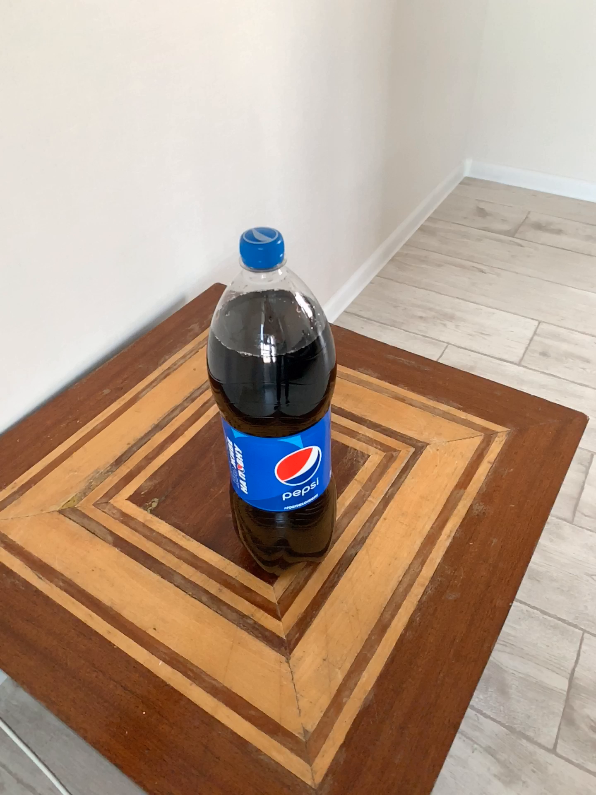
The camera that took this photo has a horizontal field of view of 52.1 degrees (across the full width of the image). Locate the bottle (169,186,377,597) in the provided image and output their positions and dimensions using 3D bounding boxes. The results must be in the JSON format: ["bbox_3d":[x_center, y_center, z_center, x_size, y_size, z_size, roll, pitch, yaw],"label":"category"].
[{"bbox_3d":[-0.014,0.017,0.510,0.100,0.338,0.100,-1,43,1],"label":"bottle"}]
